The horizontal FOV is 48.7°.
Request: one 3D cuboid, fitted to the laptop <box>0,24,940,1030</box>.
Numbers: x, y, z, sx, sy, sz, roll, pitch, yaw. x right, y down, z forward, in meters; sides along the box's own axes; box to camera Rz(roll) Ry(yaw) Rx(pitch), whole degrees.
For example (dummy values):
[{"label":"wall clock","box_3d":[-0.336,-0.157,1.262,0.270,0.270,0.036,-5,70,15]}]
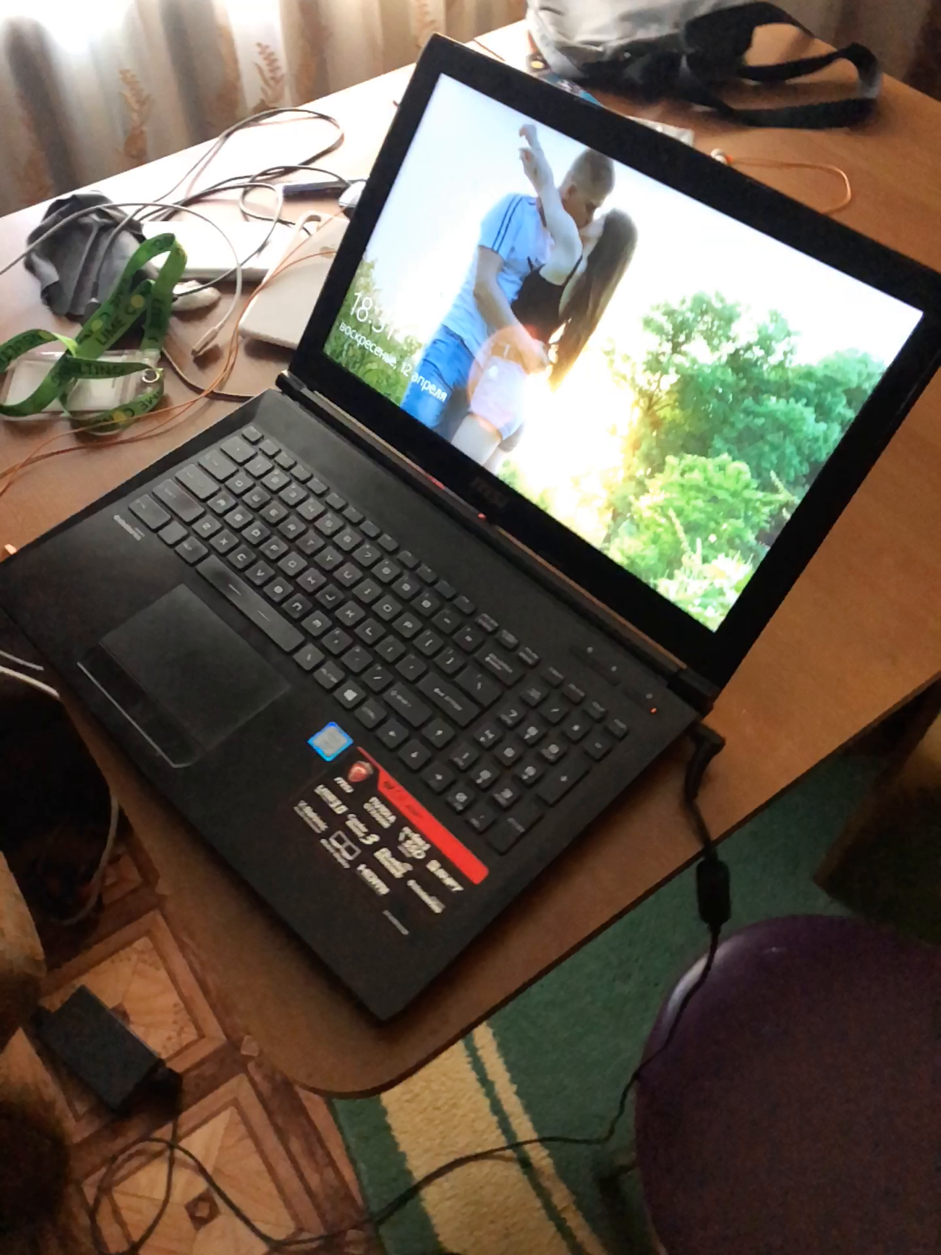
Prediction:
[{"label":"laptop","box_3d":[-0.026,-0.097,0.565,0.374,0.174,0.409,38,64,25]}]
